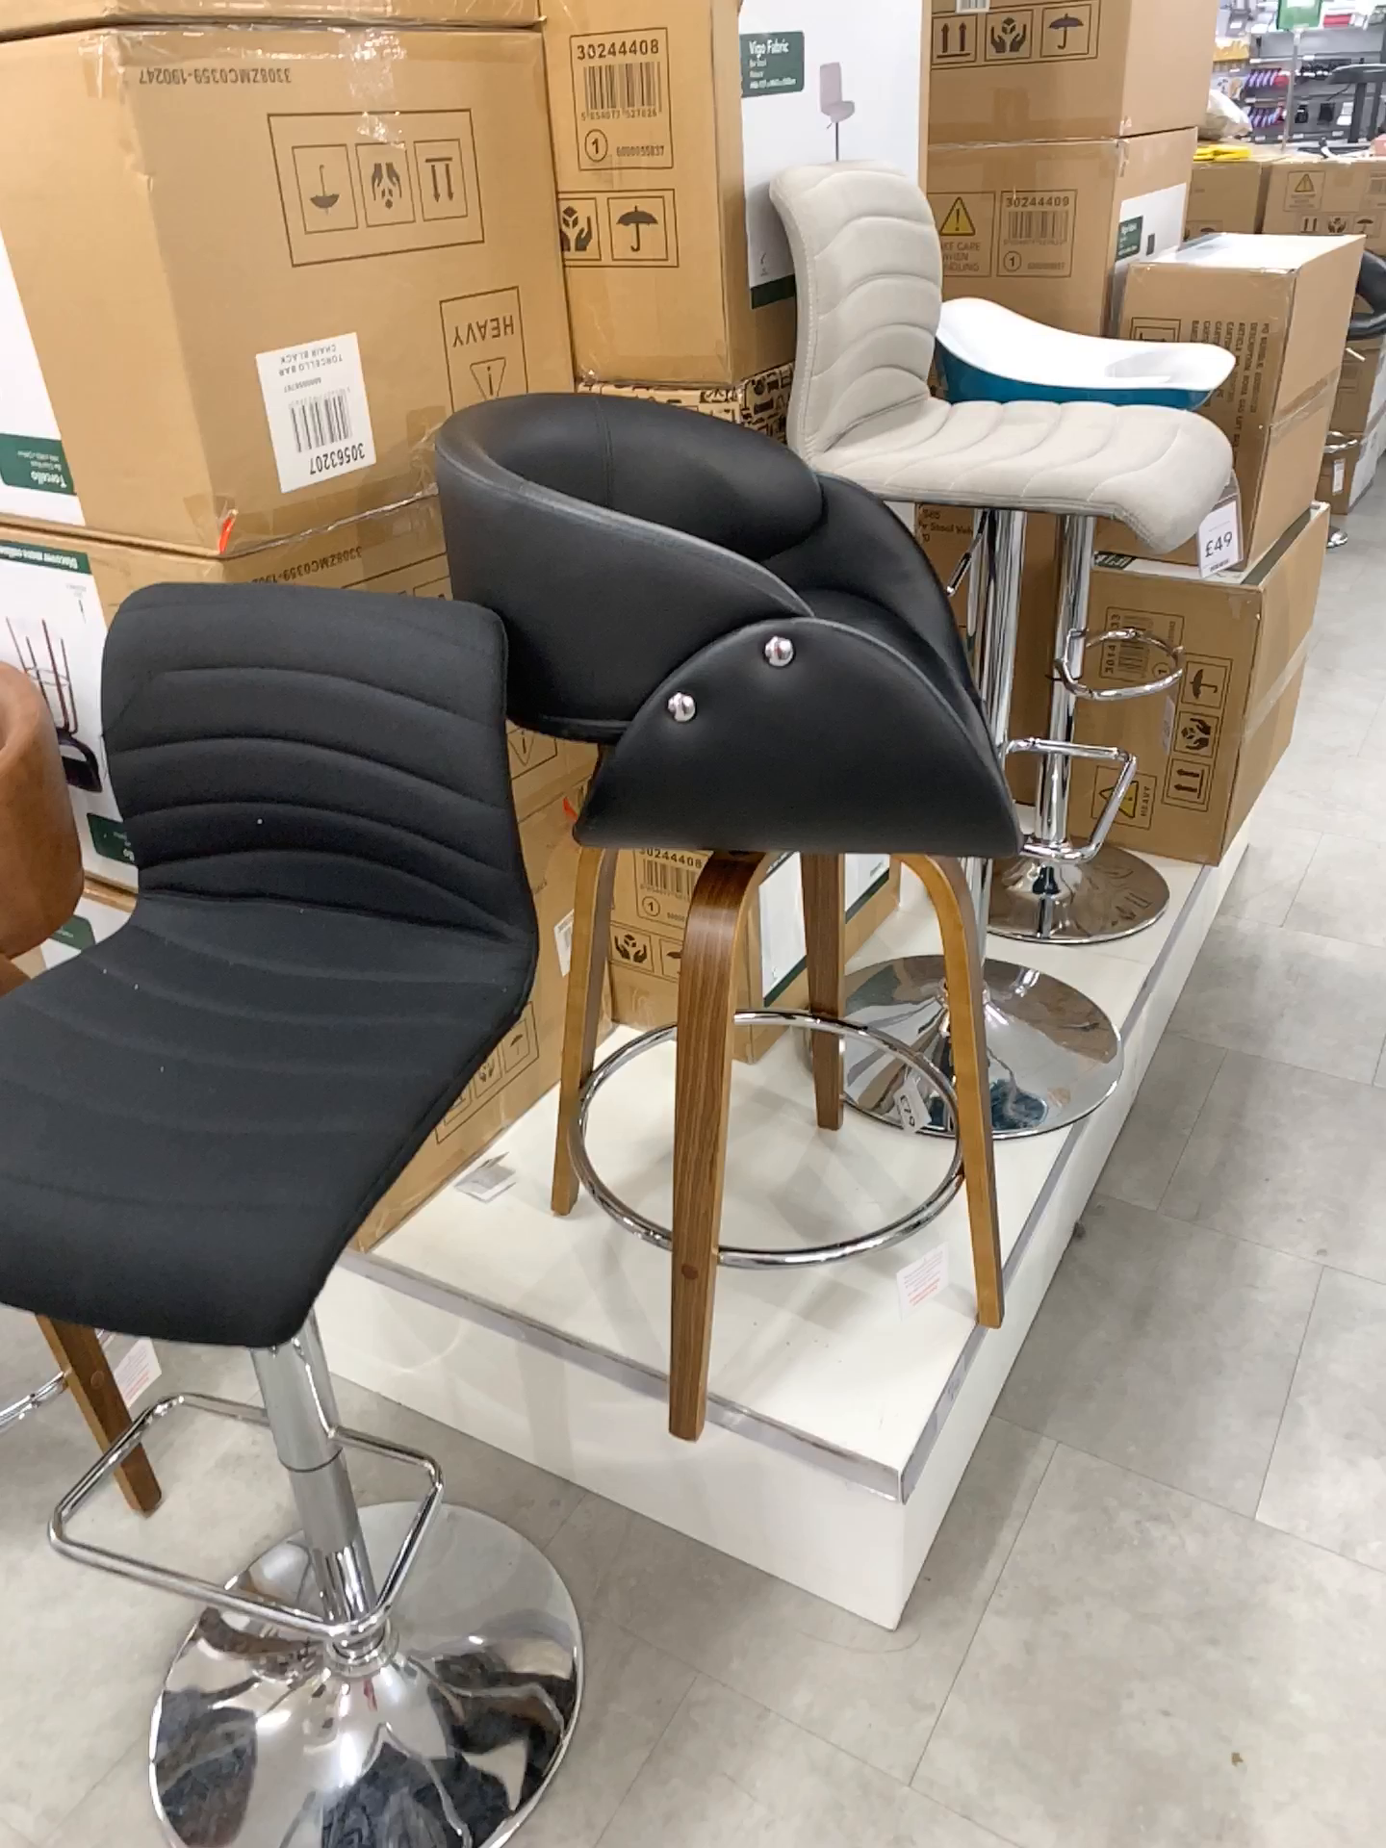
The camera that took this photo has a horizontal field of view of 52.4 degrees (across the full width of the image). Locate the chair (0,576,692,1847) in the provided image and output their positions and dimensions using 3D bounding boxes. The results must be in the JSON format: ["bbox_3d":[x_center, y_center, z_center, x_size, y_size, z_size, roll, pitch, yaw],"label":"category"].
[{"bbox_3d":[-0.361,0.287,1.154,0.485,1.017,0.470,6,30,22],"label":"chair"}]

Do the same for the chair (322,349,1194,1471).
[{"bbox_3d":[0.058,-0.012,1.361,0.546,0.897,0.570,-2,32,1],"label":"chair"}]

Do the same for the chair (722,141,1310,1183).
[{"bbox_3d":[0.332,-0.292,1.540,0.437,0.968,0.437,12,30,25],"label":"chair"}]
